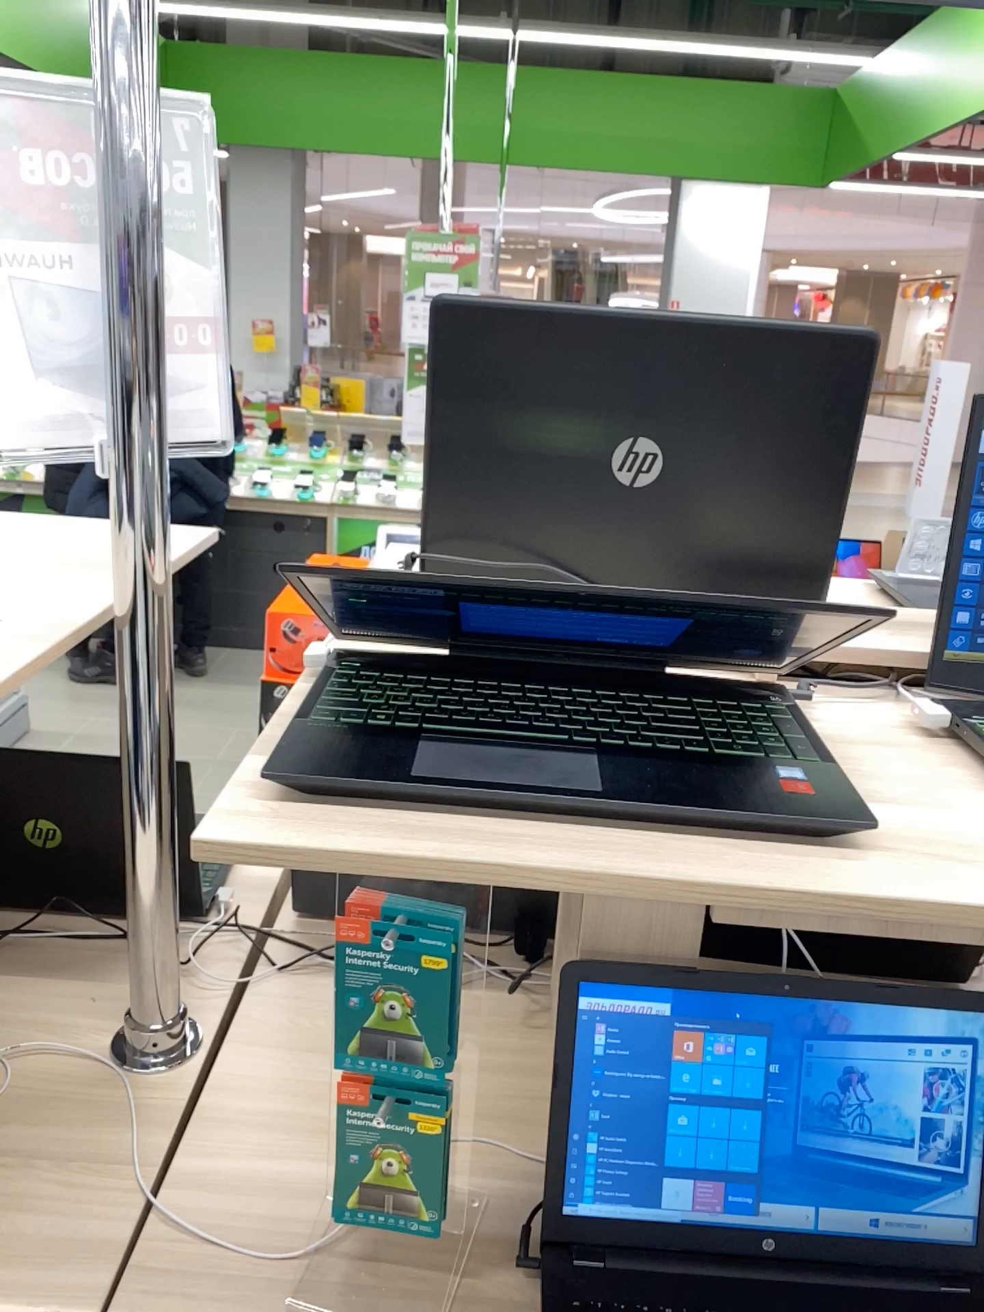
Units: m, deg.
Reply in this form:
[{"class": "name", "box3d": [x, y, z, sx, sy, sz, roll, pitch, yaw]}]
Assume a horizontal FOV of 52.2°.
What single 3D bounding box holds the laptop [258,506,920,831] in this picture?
[{"class": "laptop", "box3d": [0.053, -0.008, 0.686, 0.364, 0.115, 0.245, 5, 18, 1]}]
